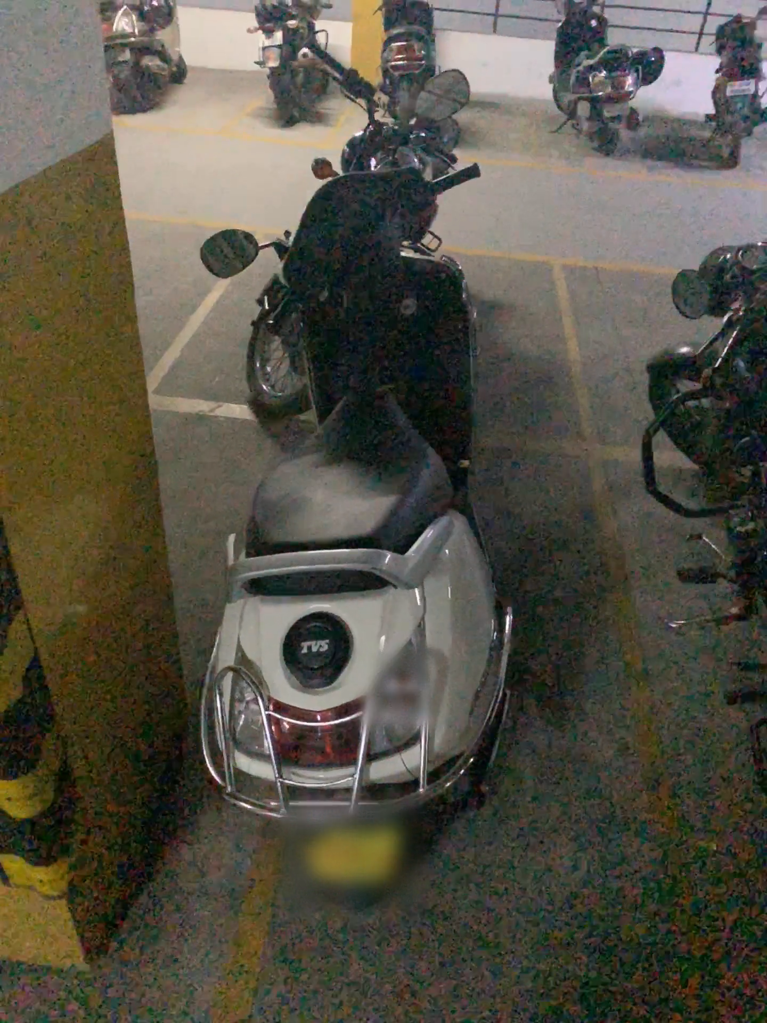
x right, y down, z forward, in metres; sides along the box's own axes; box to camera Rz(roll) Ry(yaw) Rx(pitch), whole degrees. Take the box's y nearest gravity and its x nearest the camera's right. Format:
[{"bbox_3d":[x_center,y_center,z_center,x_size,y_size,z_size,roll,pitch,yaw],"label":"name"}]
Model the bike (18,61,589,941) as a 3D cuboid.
[{"bbox_3d":[-0.085,-0.154,1.792,0.647,1.159,1.539,6,40,0],"label":"bike"}]
